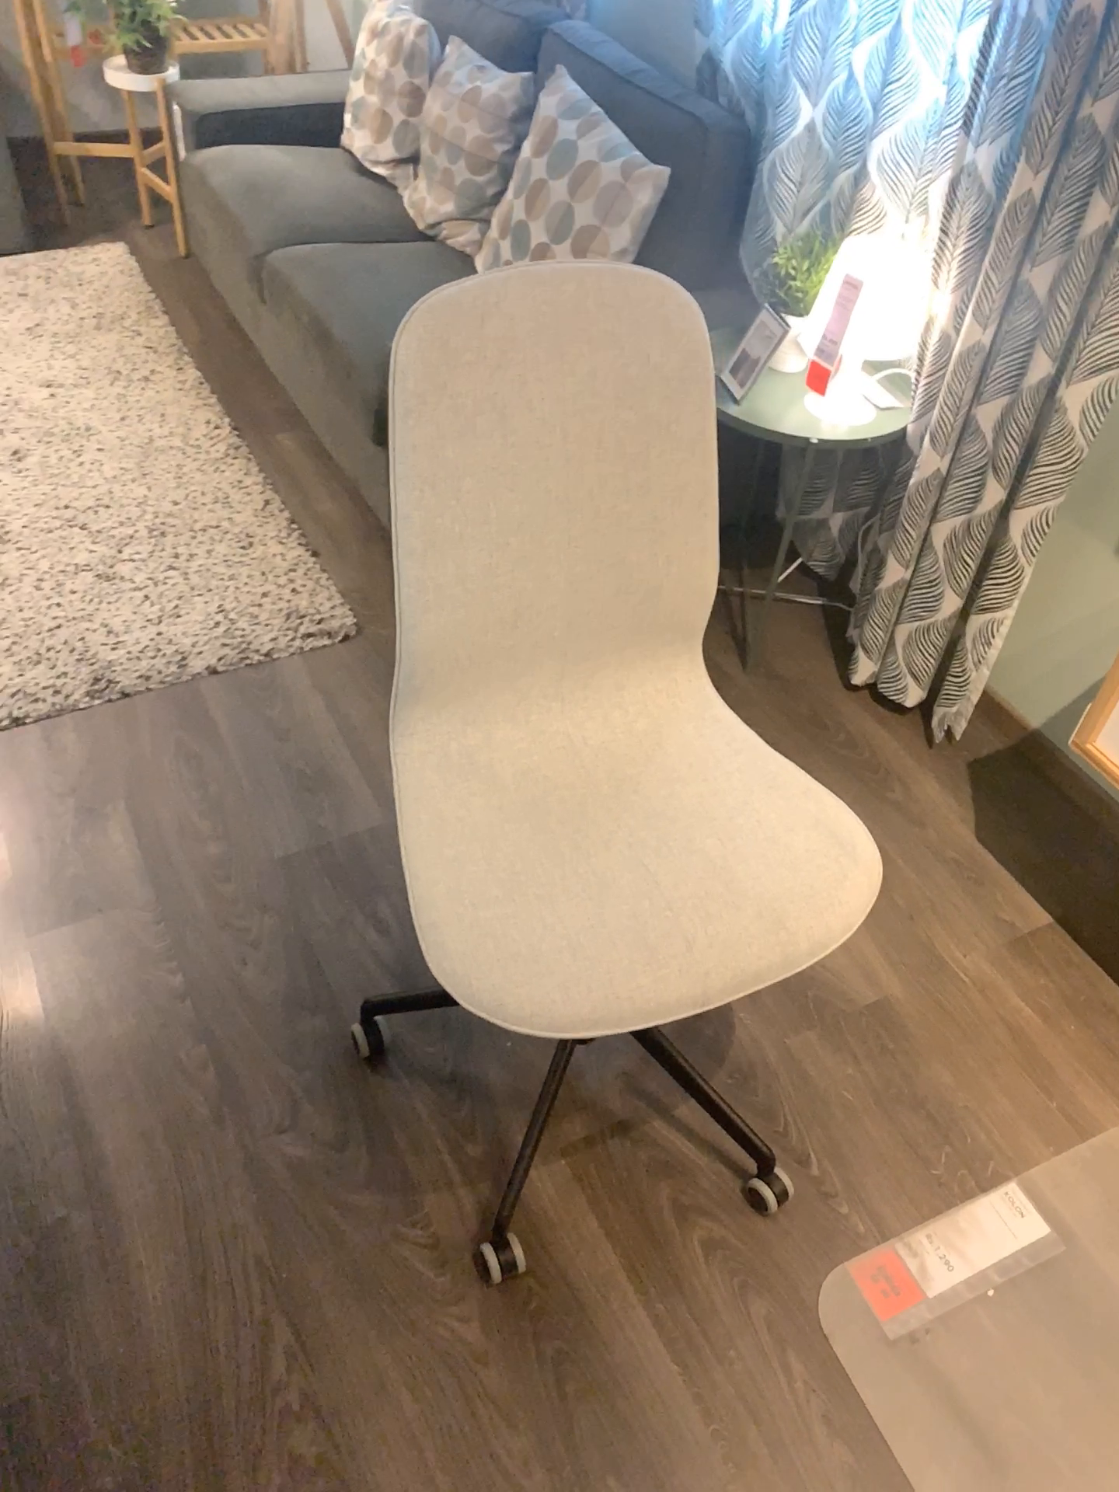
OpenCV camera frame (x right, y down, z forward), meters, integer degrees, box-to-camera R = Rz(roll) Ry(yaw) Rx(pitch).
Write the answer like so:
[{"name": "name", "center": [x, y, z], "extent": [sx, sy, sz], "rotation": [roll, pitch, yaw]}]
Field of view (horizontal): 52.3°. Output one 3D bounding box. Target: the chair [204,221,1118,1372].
[{"name": "chair", "center": [0.055, 0.065, 1.330], "extent": [0.630, 1.006, 0.712], "rotation": [-16, 48, -22]}]
